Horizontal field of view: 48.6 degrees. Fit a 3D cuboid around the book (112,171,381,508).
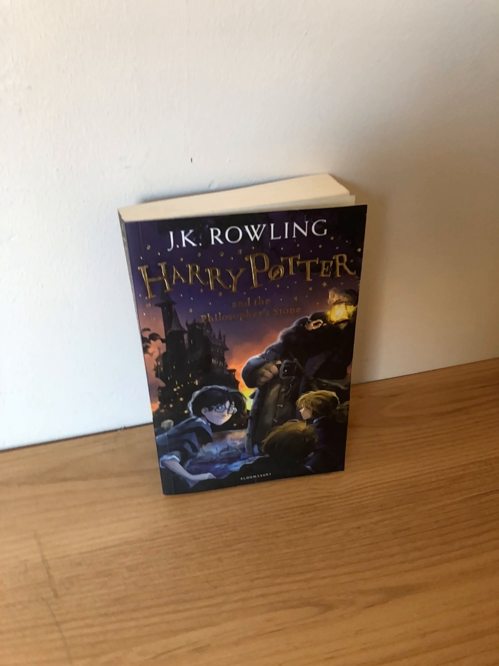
[{"bbox_3d":[-0.005,0.006,0.349,0.135,0.192,0.068,-6,30,-9],"label":"book"}]
